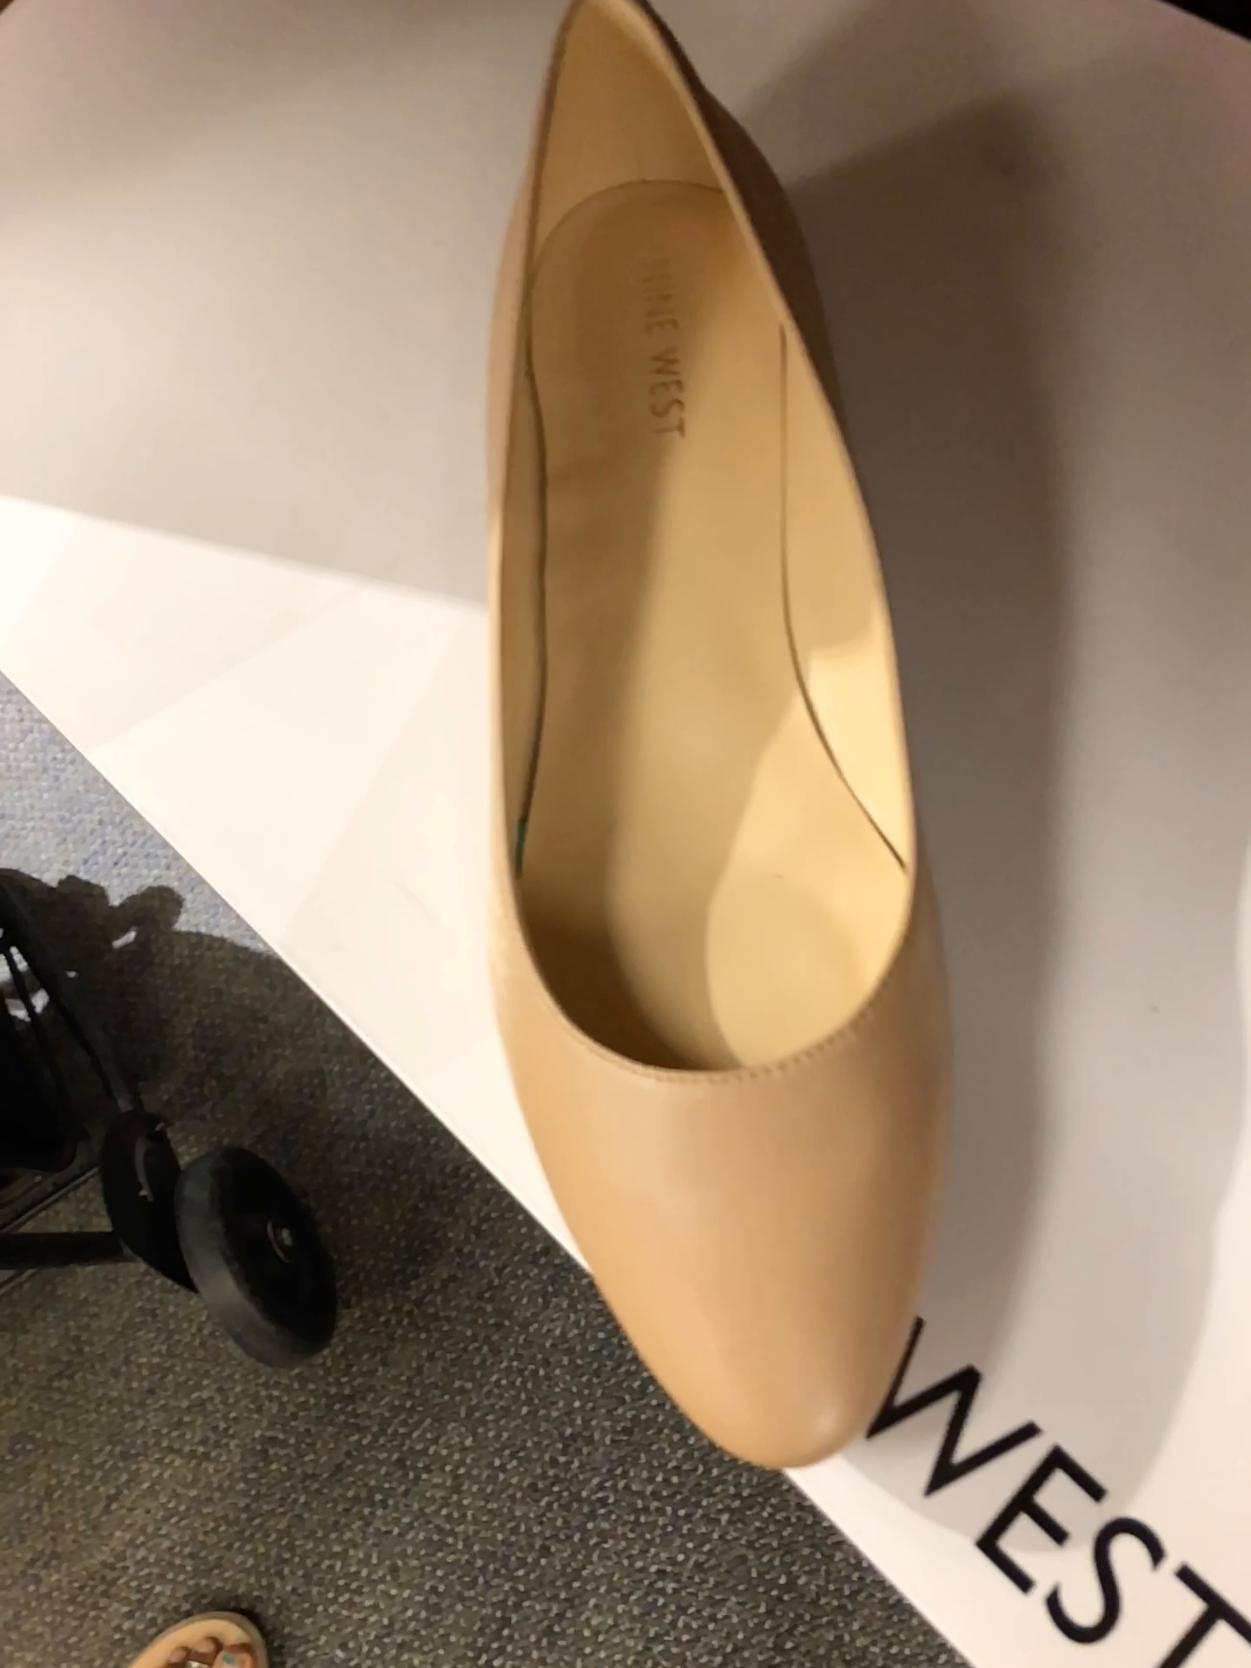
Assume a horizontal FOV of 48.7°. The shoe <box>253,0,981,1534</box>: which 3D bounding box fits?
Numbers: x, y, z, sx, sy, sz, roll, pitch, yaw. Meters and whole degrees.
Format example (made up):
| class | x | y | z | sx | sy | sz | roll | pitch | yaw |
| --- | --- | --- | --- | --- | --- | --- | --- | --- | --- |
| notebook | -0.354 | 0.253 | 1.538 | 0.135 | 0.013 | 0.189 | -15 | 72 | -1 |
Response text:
| class | x | y | z | sx | sy | sz | roll | pitch | yaw |
| --- | --- | --- | --- | --- | --- | --- | --- | --- | --- |
| shoe | -0.004 | -0.036 | 0.241 | 0.081 | 0.070 | 0.270 | -10 | 76 | 12 |
